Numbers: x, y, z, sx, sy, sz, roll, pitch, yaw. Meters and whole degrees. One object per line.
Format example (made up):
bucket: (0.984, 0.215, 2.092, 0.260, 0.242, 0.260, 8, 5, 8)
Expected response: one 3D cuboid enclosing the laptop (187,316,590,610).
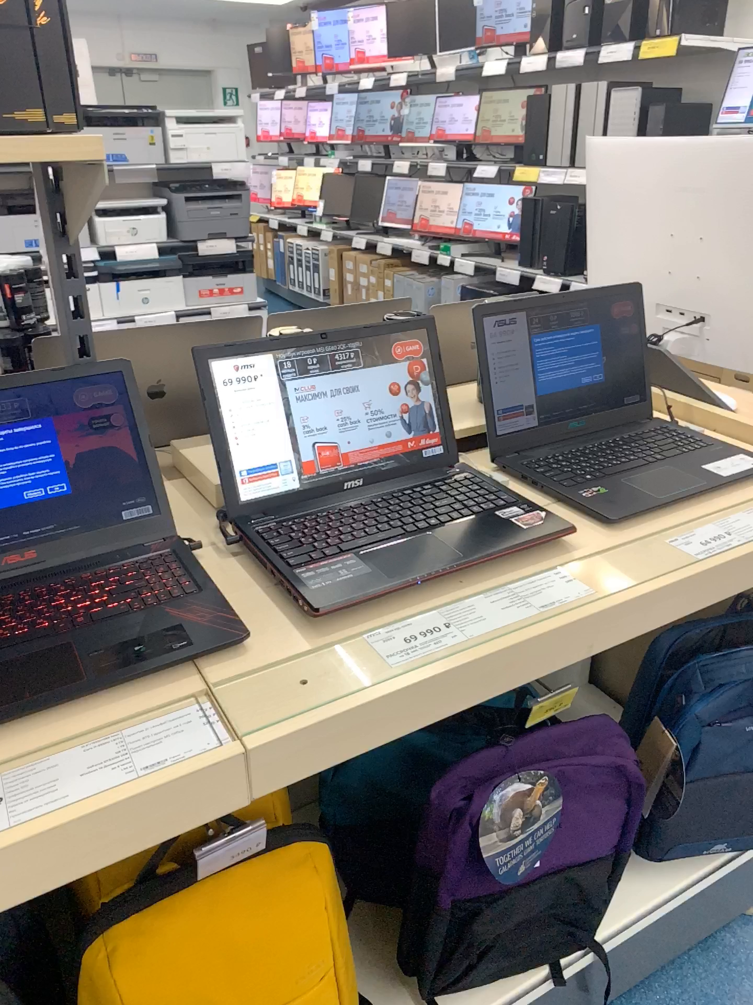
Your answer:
laptop: (0.006, -0.080, 0.936, 0.356, 0.197, 0.313, -14, 29, -29)
